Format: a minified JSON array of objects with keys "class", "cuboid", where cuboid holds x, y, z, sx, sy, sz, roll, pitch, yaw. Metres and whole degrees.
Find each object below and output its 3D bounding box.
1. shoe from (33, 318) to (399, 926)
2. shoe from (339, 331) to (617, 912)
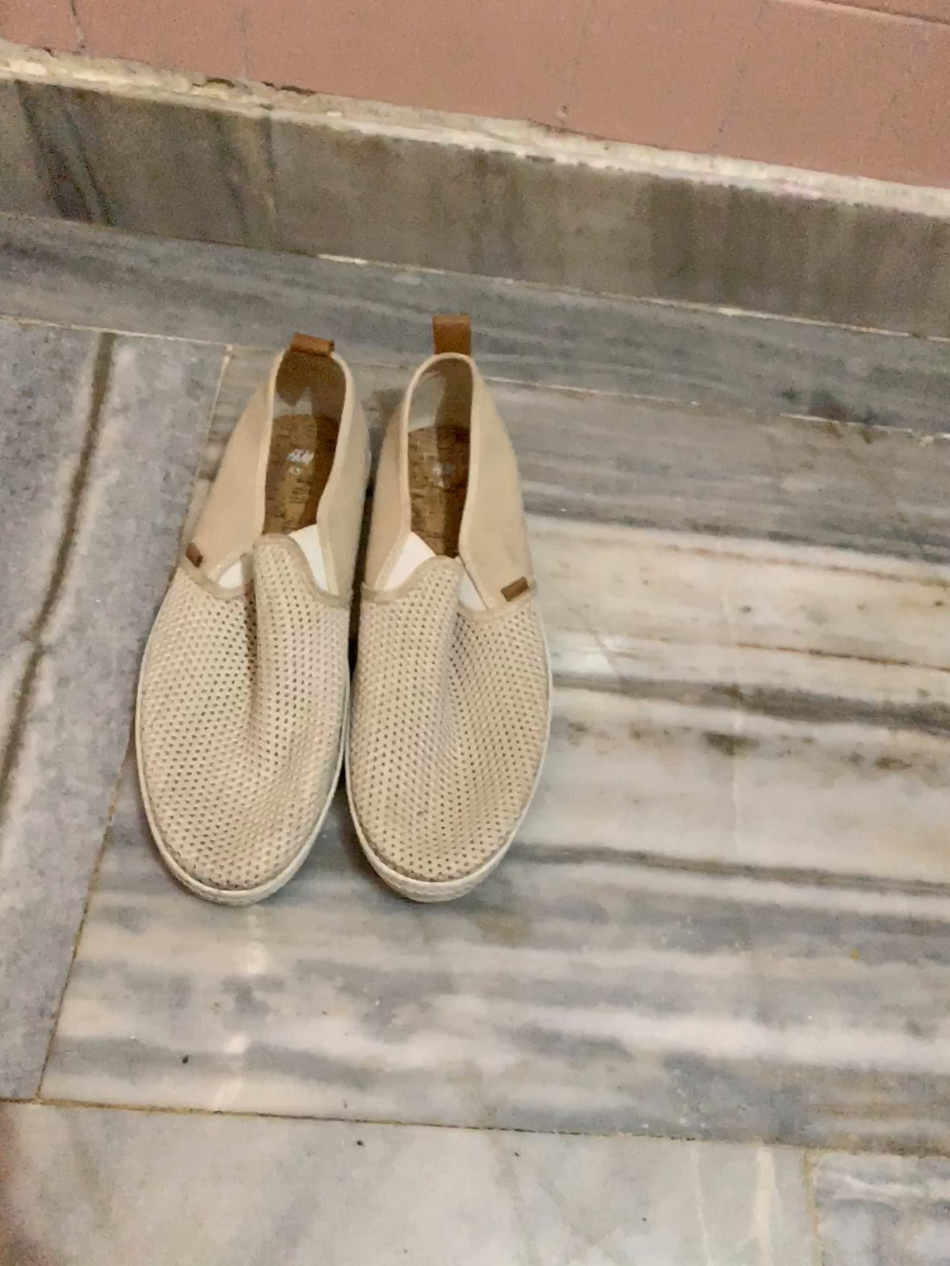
[{"class":"shoe","cuboid":[-0.115,-0.019,0.509,0.116,0.080,0.310,7,58,-5]},{"class":"shoe","cuboid":[-0.007,-0.018,0.523,0.116,0.080,0.310,2,58,-7]}]
